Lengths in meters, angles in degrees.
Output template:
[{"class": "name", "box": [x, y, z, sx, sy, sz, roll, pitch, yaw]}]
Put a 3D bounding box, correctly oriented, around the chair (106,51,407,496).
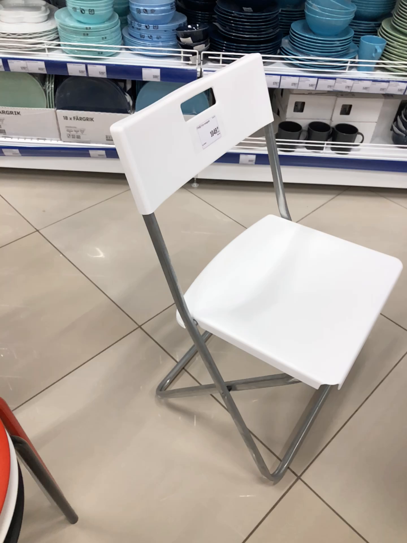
[{"class": "chair", "box": [0.142, 0.019, 0.931, 0.431, 0.711, 0.428, 27, 48, 23]}]
